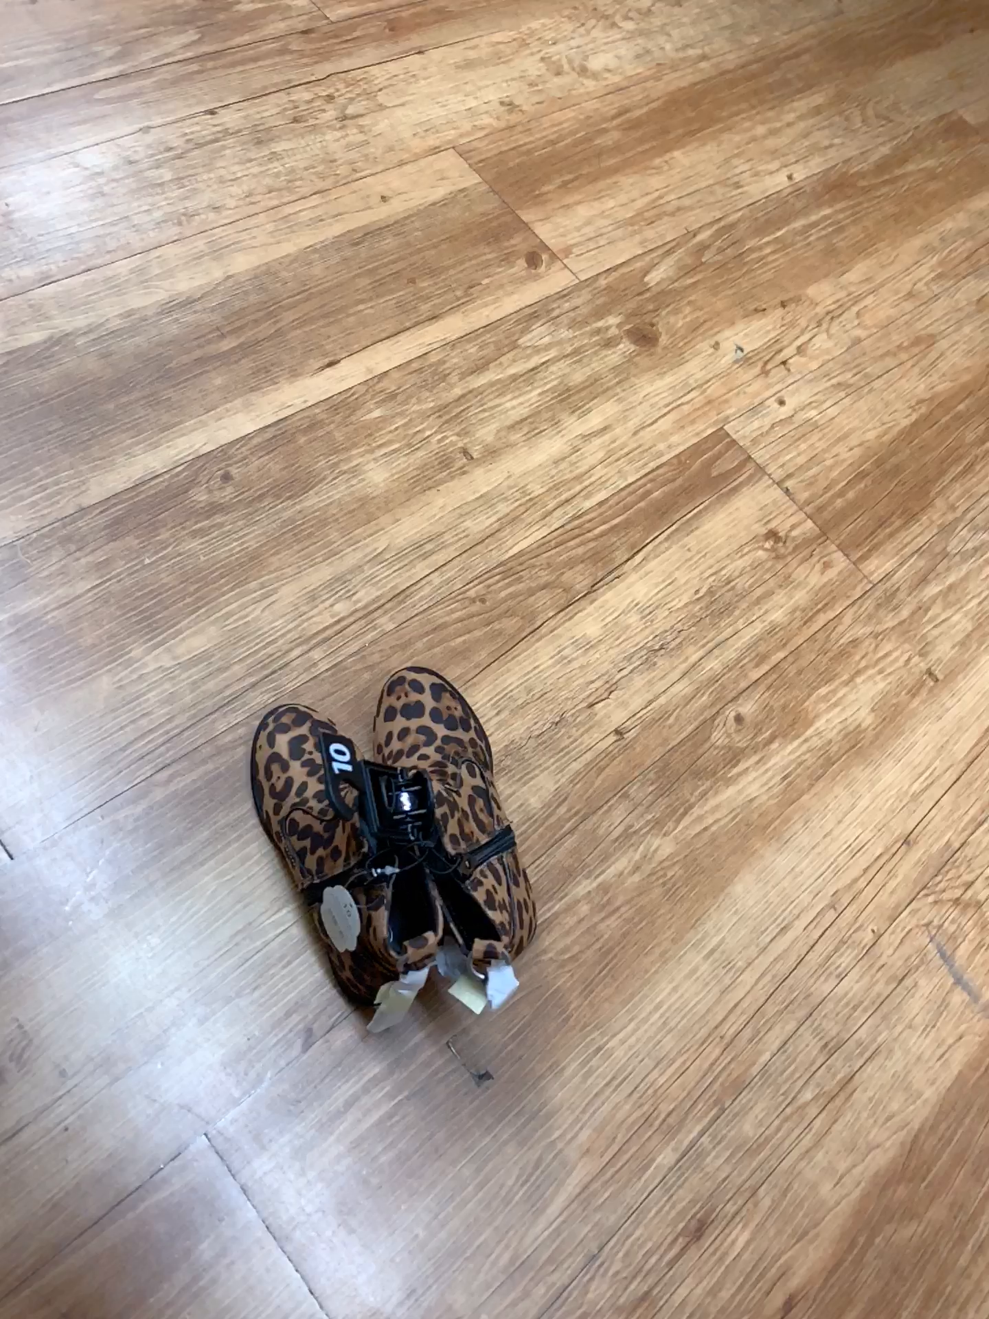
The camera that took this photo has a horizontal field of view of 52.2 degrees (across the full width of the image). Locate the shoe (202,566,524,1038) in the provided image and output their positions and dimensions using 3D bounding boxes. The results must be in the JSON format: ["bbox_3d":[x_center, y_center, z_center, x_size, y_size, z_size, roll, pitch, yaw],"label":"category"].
[{"bbox_3d":[-0.075,0.072,0.497,0.070,0.120,0.190,-20,71,-24],"label":"shoe"}]

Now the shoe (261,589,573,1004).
[{"bbox_3d":[-0.037,0.074,0.525,0.070,0.120,0.180,-26,70,5],"label":"shoe"}]
